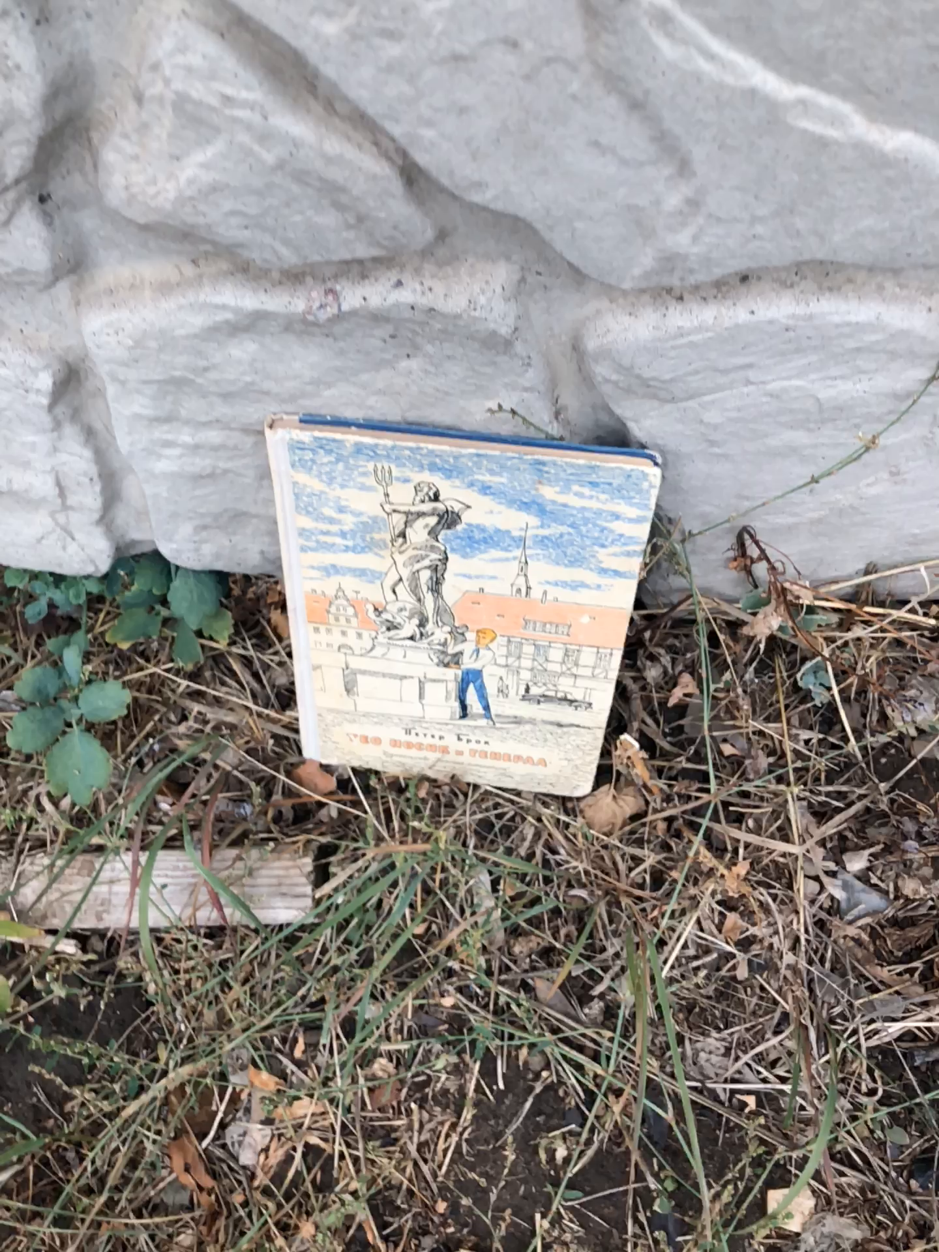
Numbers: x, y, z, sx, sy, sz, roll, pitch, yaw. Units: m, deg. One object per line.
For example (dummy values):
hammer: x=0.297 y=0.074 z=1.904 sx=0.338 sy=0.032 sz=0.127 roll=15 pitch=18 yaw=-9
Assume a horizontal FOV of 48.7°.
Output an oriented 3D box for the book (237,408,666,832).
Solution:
book: x=-0.006 y=0.008 z=0.436 sx=0.151 sy=0.200 sz=0.020 roll=10 pitch=47 yaw=11
